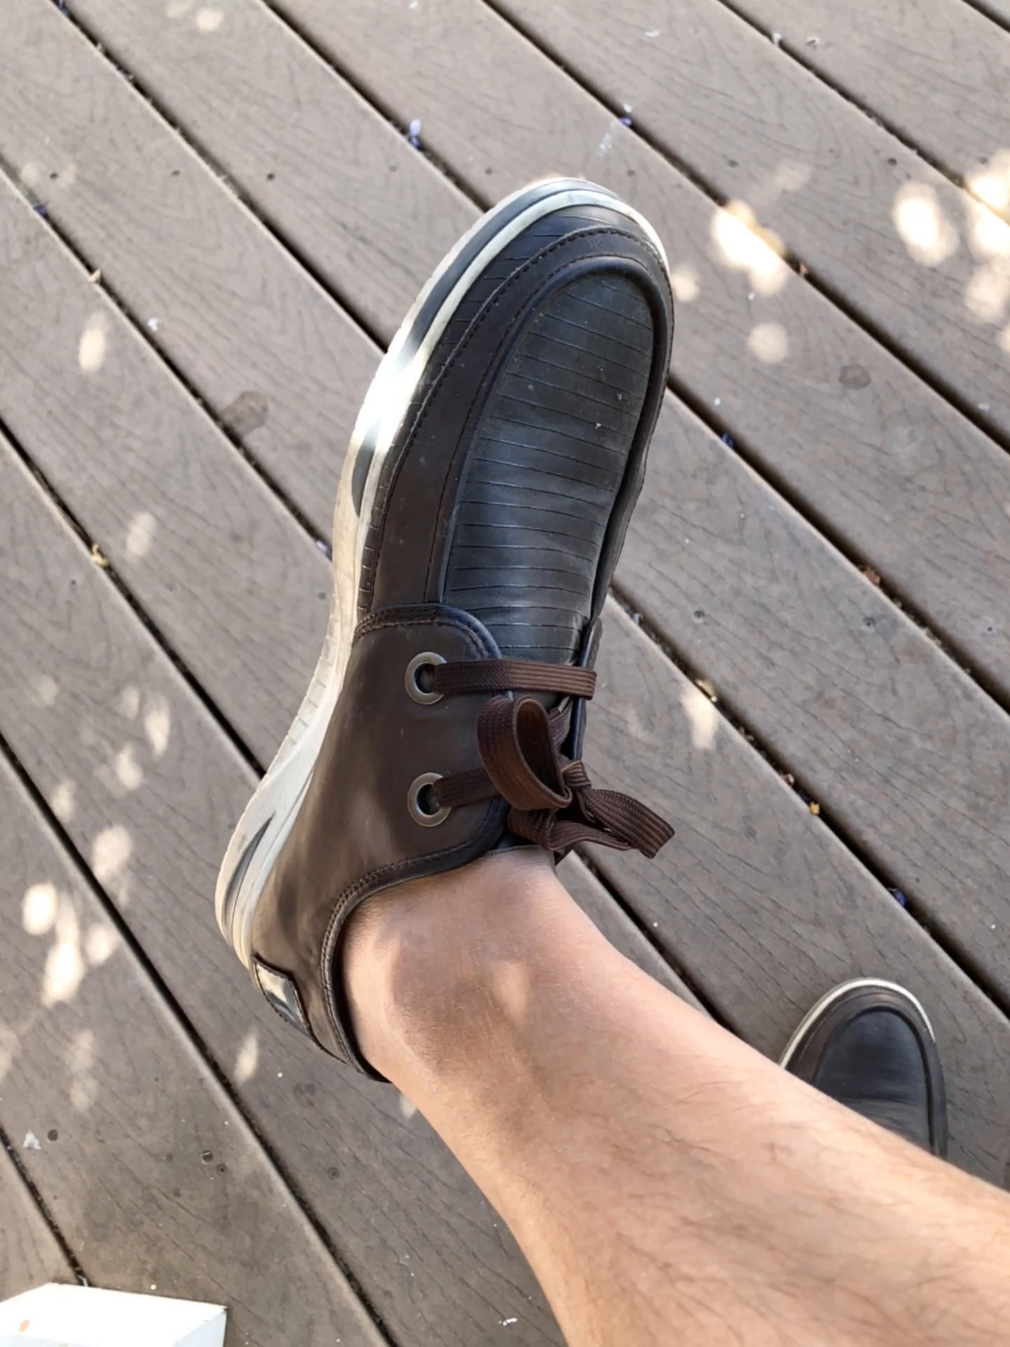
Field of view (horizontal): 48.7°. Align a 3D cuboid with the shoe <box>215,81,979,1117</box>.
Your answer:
[{"bbox_3d":[0.009,-0.007,0.340,0.092,0.102,0.275,45,124,39],"label":"shoe"}]
